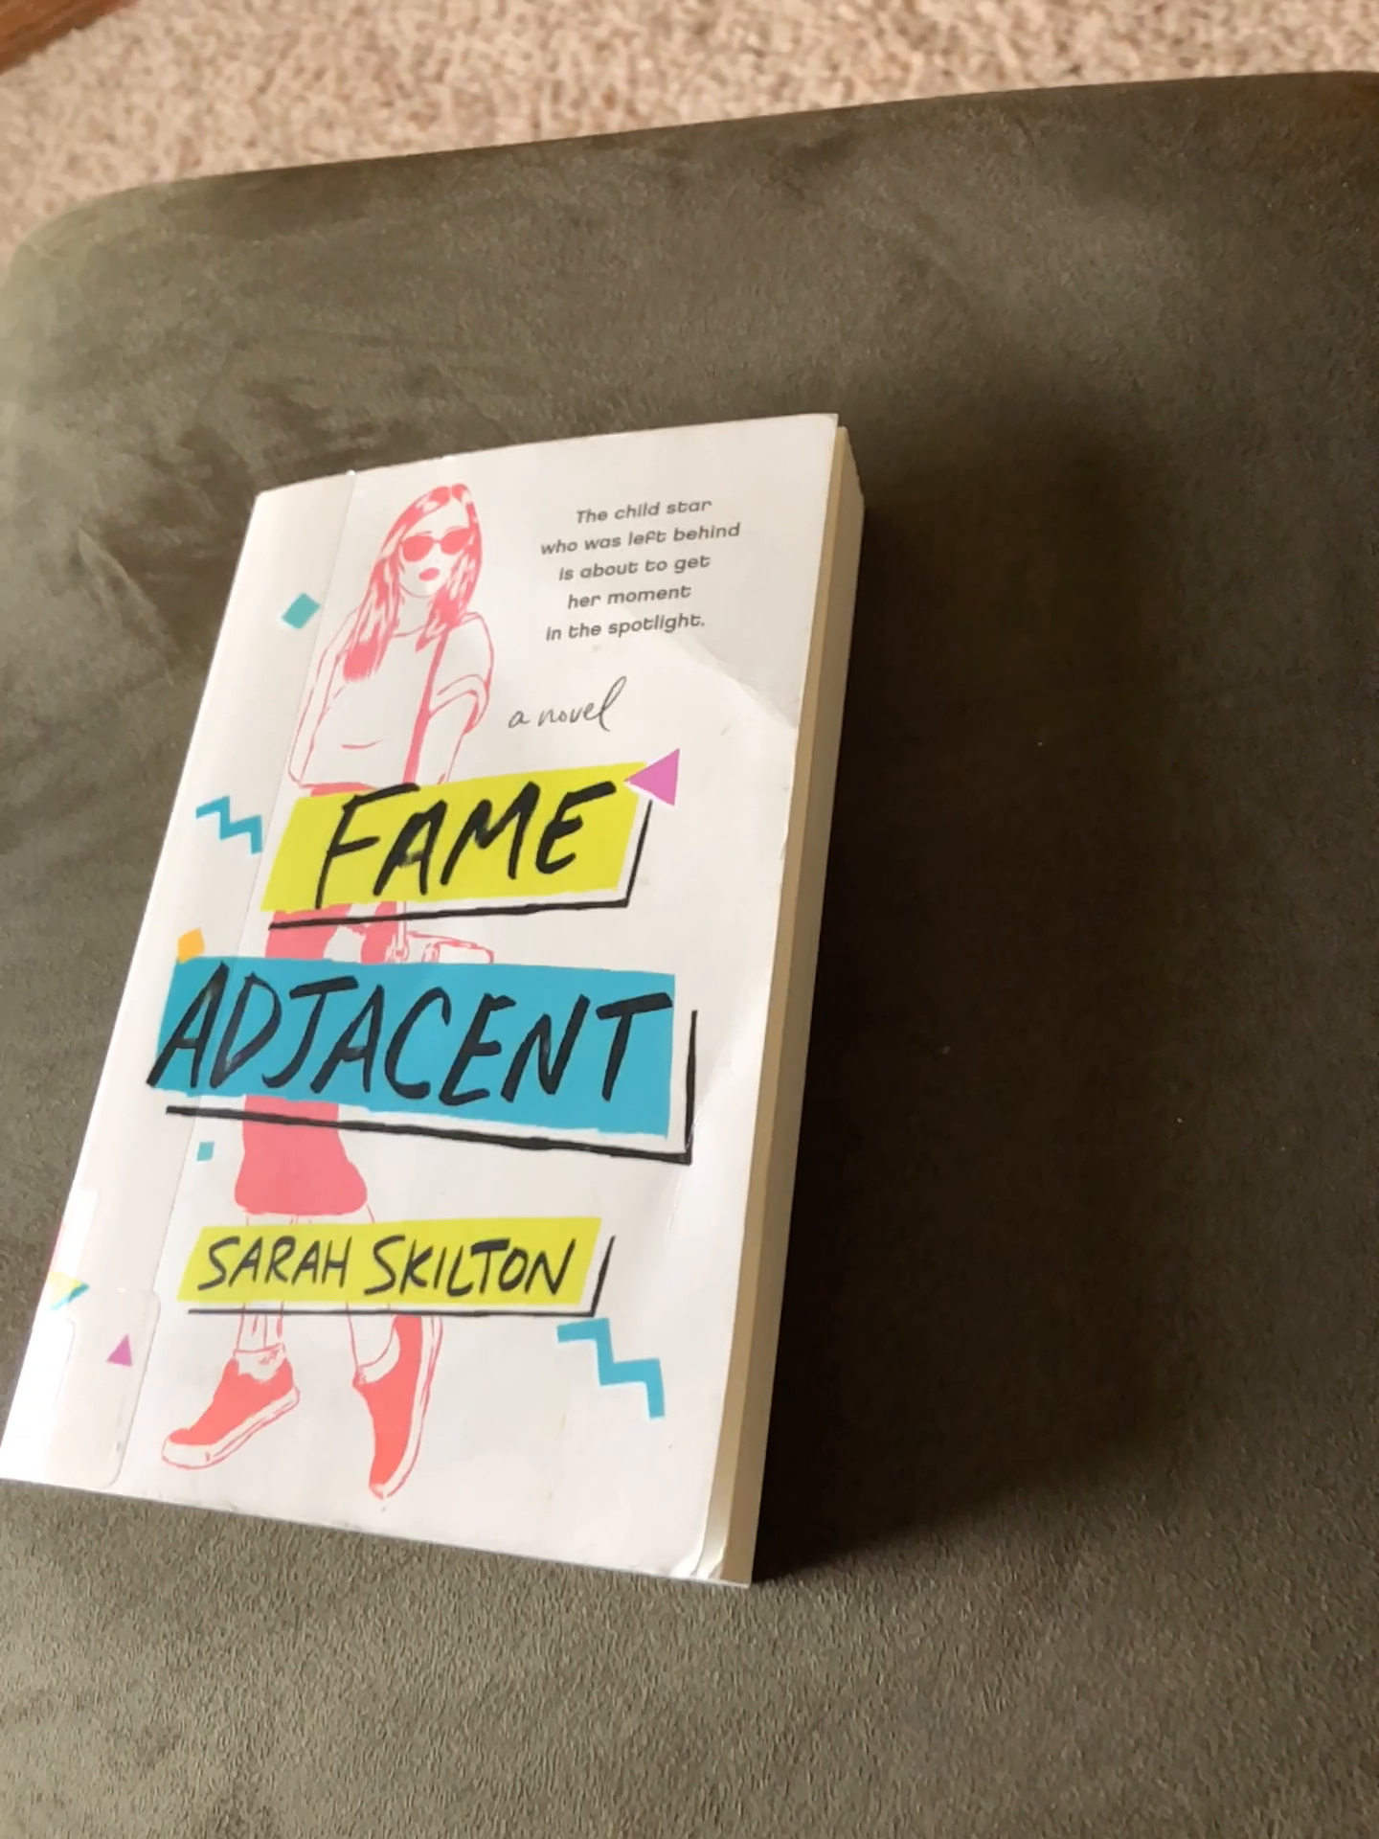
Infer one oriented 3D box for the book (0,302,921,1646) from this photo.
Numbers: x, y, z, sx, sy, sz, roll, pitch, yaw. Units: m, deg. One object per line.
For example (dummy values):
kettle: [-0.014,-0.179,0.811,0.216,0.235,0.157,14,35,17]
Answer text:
book: [-0.040,0.000,0.279,0.140,0.040,0.220,-1,67,22]
